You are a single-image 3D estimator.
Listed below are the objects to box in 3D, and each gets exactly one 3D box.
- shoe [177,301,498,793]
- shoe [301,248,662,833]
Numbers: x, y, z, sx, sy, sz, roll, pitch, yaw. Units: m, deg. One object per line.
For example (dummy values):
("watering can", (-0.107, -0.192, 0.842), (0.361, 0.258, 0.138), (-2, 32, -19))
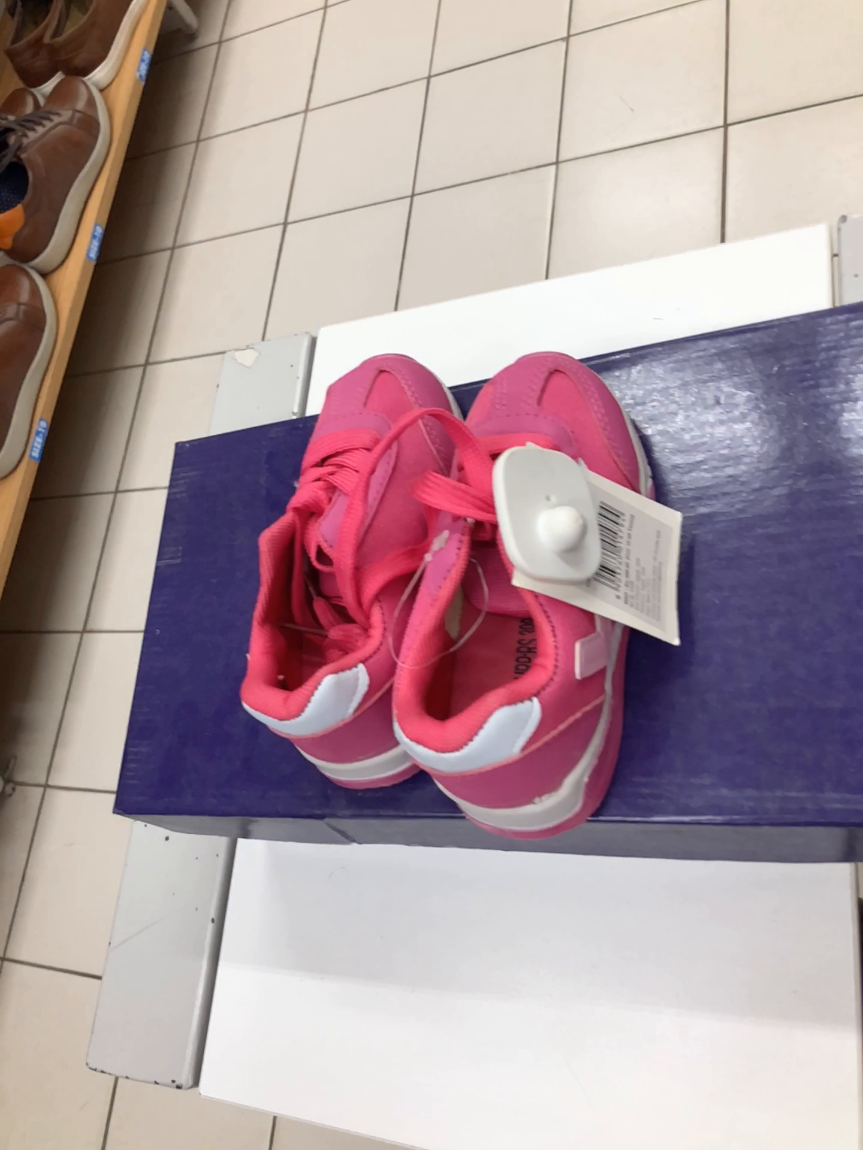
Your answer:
("shoe", (-0.027, -0.005, 0.365), (0.070, 0.090, 0.160), (-5, 69, 24))
("shoe", (0.025, -0.004, 0.311), (0.080, 0.090, 0.160), (-5, 69, 24))
